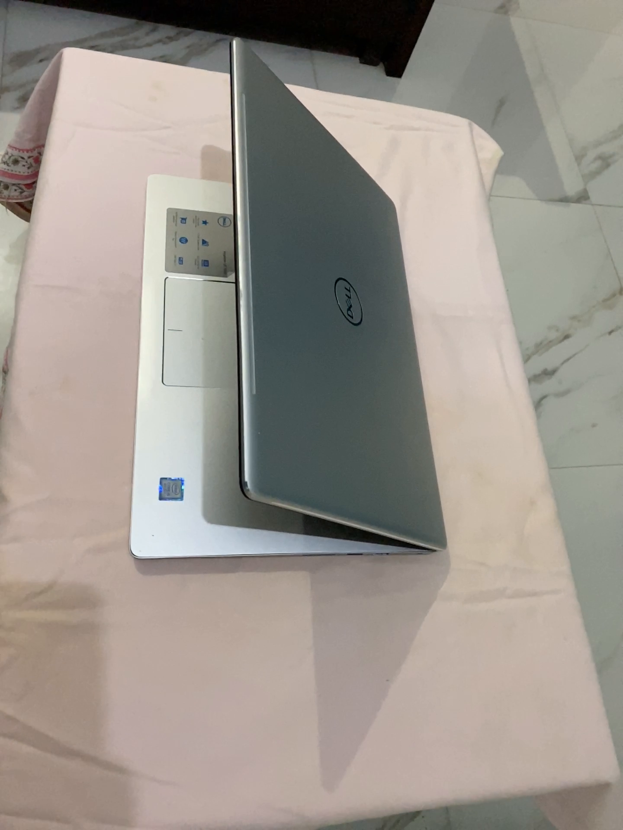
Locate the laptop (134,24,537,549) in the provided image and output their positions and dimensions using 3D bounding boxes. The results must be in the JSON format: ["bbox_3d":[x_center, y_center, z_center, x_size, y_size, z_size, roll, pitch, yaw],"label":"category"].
[{"bbox_3d":[-0.009,-0.088,0.485,0.234,0.149,0.348,2,66,-15],"label":"laptop"}]
